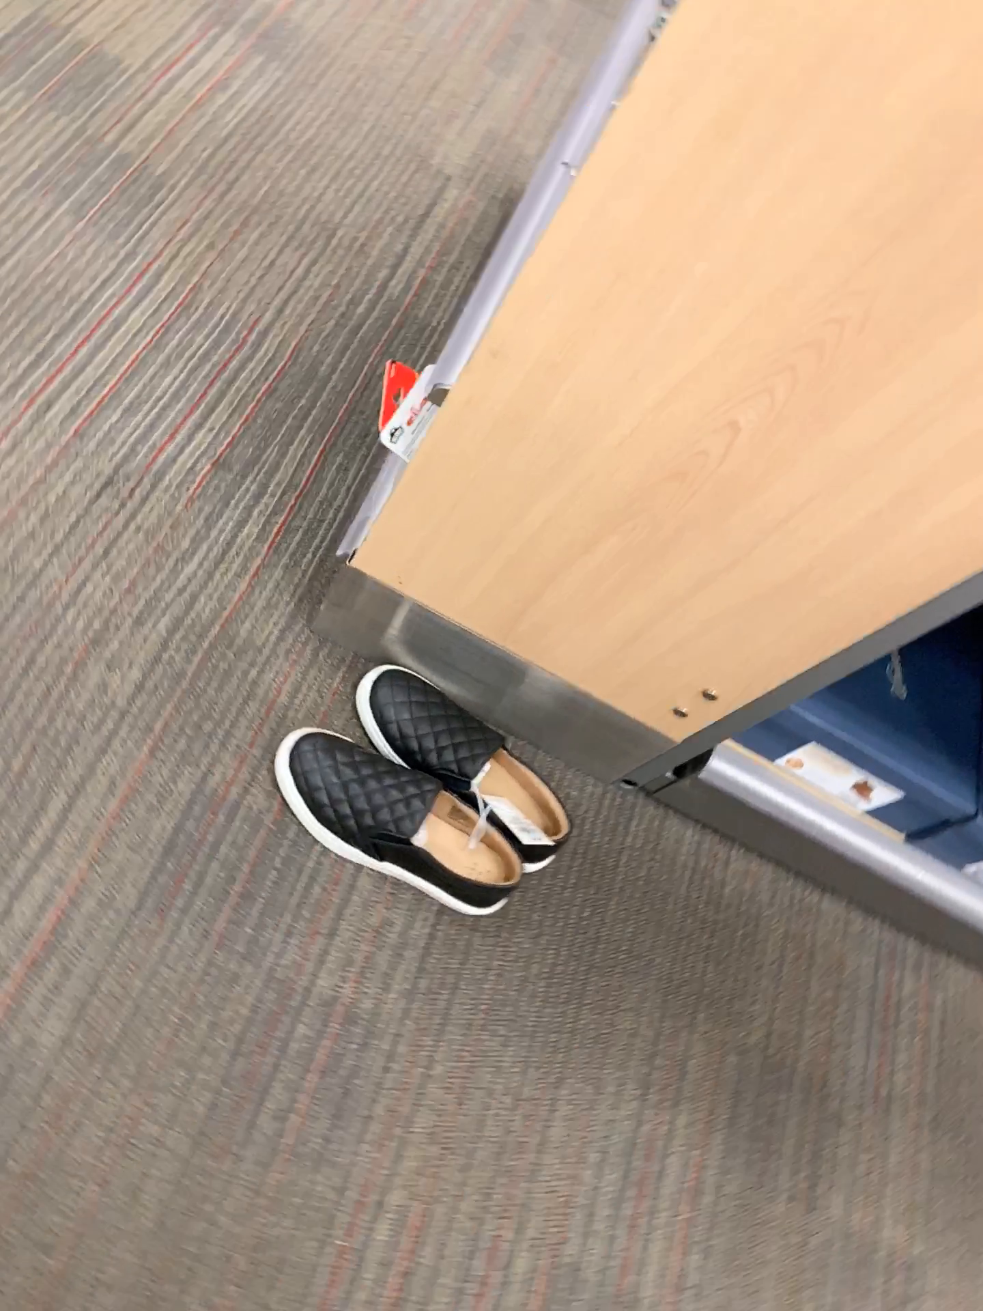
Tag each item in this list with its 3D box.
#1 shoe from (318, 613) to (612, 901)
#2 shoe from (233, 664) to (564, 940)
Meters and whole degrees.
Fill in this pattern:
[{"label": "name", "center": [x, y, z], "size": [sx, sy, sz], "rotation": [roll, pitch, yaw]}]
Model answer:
[{"label": "shoe", "center": [-0.028, 0.100, 0.963], "size": [0.260, 0.100, 0.100], "rotation": [44, 56, -1]}, {"label": "shoe", "center": [-0.082, 0.135, 0.893], "size": [0.260, 0.100, 0.100], "rotation": [33, 57, -8]}]
